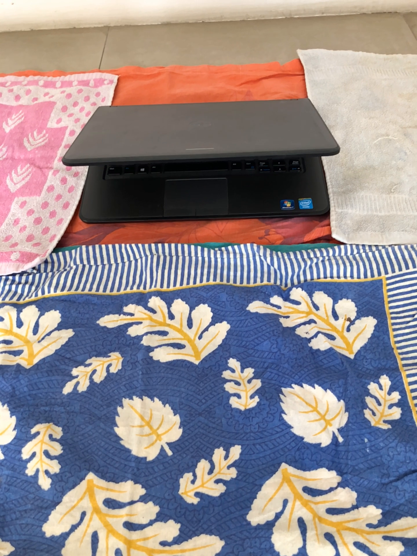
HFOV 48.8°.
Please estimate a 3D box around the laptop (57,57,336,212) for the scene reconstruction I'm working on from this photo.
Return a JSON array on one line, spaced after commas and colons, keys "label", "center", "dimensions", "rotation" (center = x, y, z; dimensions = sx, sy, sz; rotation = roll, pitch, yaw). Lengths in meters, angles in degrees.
[{"label": "laptop", "center": [-0.013, -0.200, 0.618], "dimensions": [0.314, 0.078, 0.228], "rotation": [-2, 51, 1]}]
